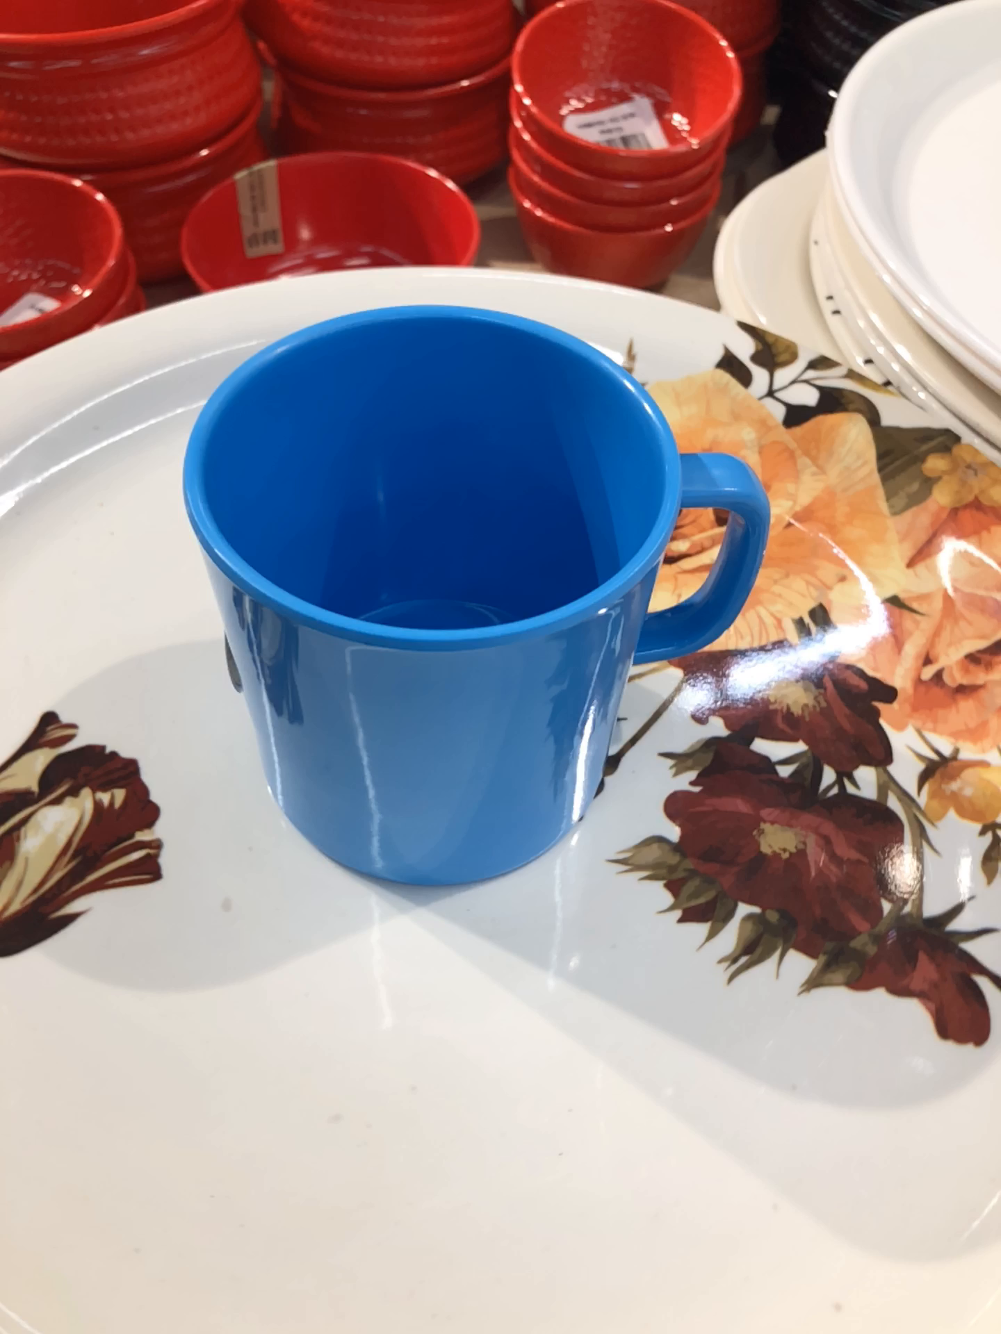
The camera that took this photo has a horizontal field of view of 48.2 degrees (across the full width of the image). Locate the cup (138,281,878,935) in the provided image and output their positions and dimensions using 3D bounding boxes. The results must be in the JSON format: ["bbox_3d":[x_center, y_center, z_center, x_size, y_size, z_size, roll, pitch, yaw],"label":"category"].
[{"bbox_3d":[-0.004,-0.010,0.224,0.110,0.089,0.080,-7,54,-6],"label":"cup"}]
